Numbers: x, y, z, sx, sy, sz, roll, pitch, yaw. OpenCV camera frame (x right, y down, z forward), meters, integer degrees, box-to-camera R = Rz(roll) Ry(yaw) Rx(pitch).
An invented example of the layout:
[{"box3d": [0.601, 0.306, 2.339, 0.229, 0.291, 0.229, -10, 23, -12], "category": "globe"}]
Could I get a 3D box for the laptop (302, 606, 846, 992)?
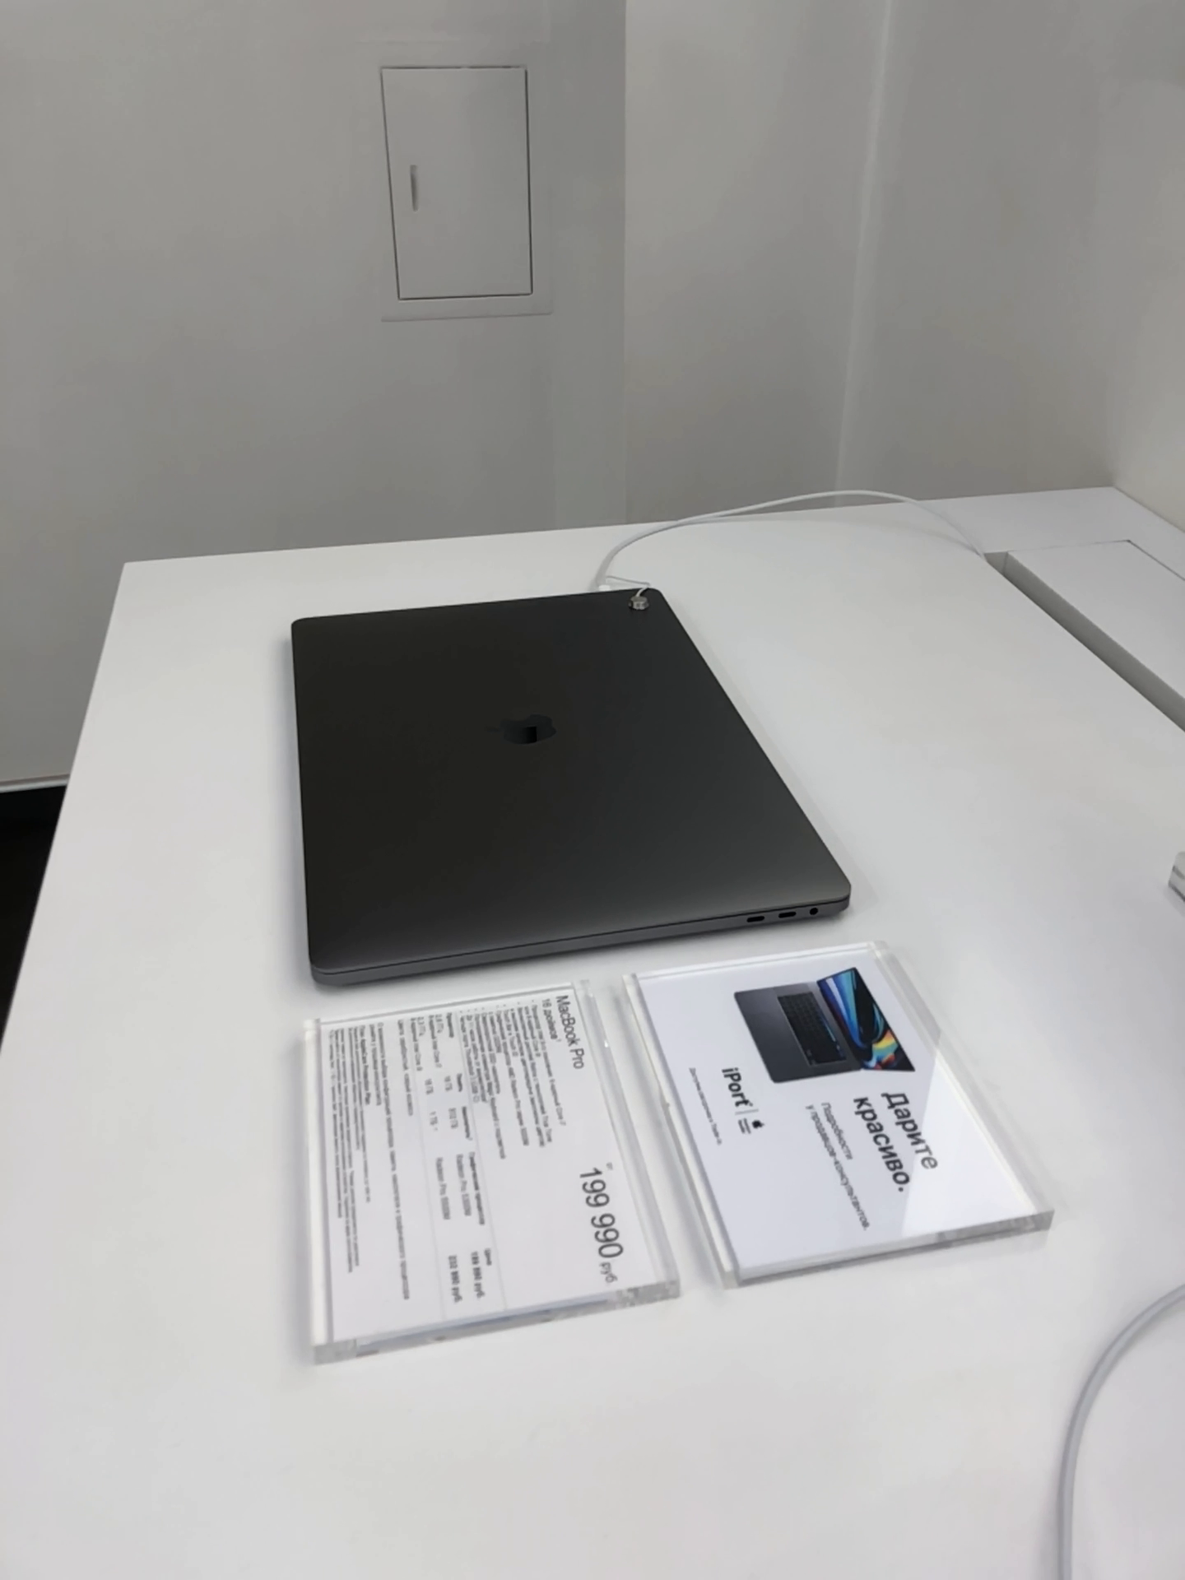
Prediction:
[{"box3d": [-0.036, -0.020, 0.704, 0.231, 0.003, 0.346, -8, 32, -10], "category": "laptop"}]
